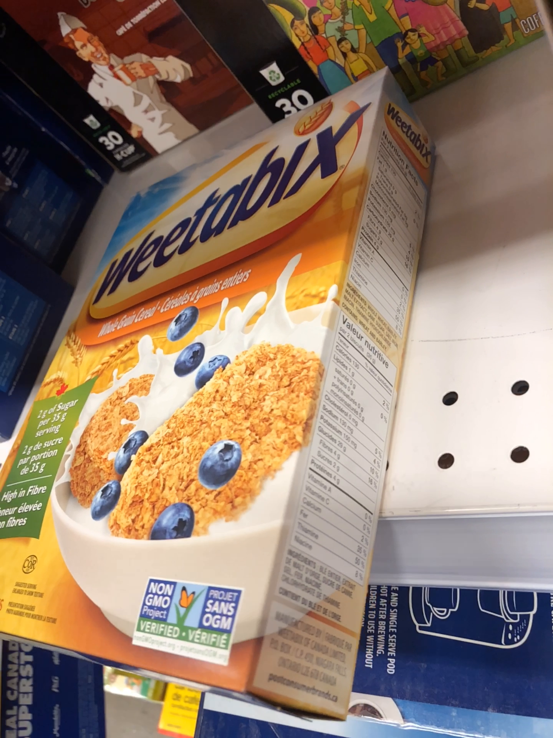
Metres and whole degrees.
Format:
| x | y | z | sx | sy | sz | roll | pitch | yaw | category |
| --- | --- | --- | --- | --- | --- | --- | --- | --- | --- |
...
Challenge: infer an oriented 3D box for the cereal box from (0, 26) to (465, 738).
| x | y | z | sx | sy | sz | roll | pitch | yaw | category |
| --- | --- | --- | --- | --- | --- | --- | --- | --- | --- |
| -0.035 | -0.011 | 0.296 | 0.211 | 0.050 | 0.290 | -11 | 50 | 39 | cereal box |
